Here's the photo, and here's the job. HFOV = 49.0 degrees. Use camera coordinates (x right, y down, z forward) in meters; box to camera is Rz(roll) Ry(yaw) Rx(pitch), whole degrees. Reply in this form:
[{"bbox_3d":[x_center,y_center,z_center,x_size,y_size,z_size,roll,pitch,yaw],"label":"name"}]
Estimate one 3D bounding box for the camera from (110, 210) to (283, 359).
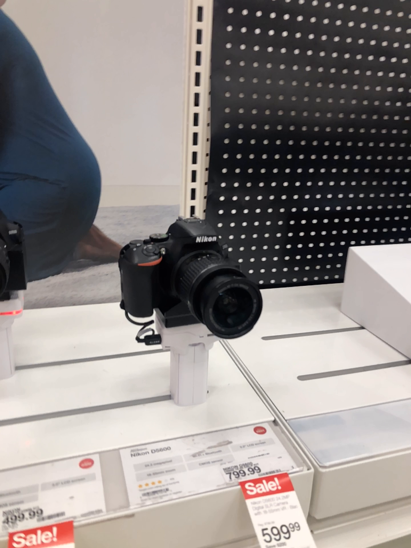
[{"bbox_3d":[-0.022,-0.002,0.475,0.130,0.090,0.171,-4,22,-19],"label":"camera"}]
